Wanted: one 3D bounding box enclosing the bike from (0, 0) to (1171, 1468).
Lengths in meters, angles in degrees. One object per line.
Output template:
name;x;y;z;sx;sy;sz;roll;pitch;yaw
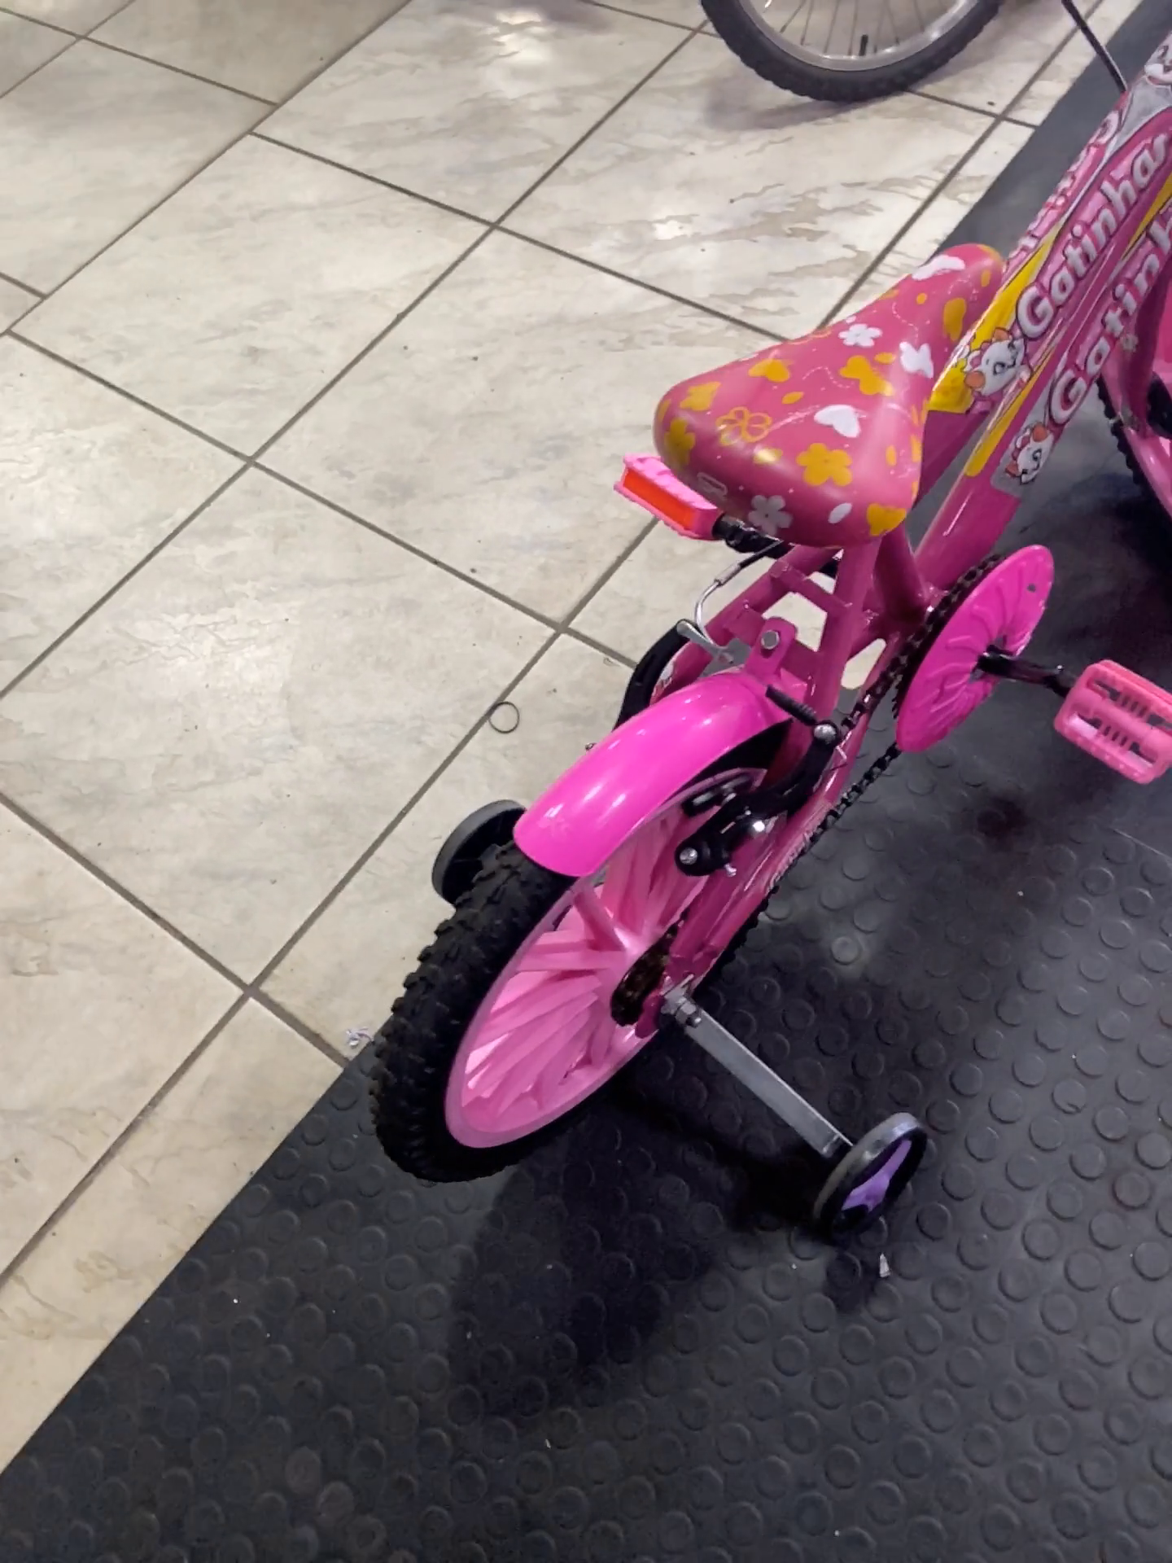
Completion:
bike;0.152;-0.209;0.721;0.466;0.790;0.940;31;68;24
